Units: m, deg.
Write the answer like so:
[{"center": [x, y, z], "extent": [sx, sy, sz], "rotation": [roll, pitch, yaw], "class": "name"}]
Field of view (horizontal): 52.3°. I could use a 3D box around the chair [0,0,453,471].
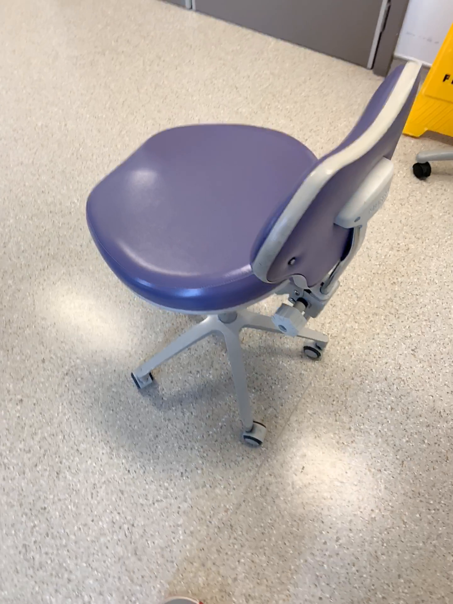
[{"center": [-0.013, -0.190, 0.925], "extent": [0.652, 0.824, 0.602], "rotation": [30, 65, 18], "class": "chair"}]
